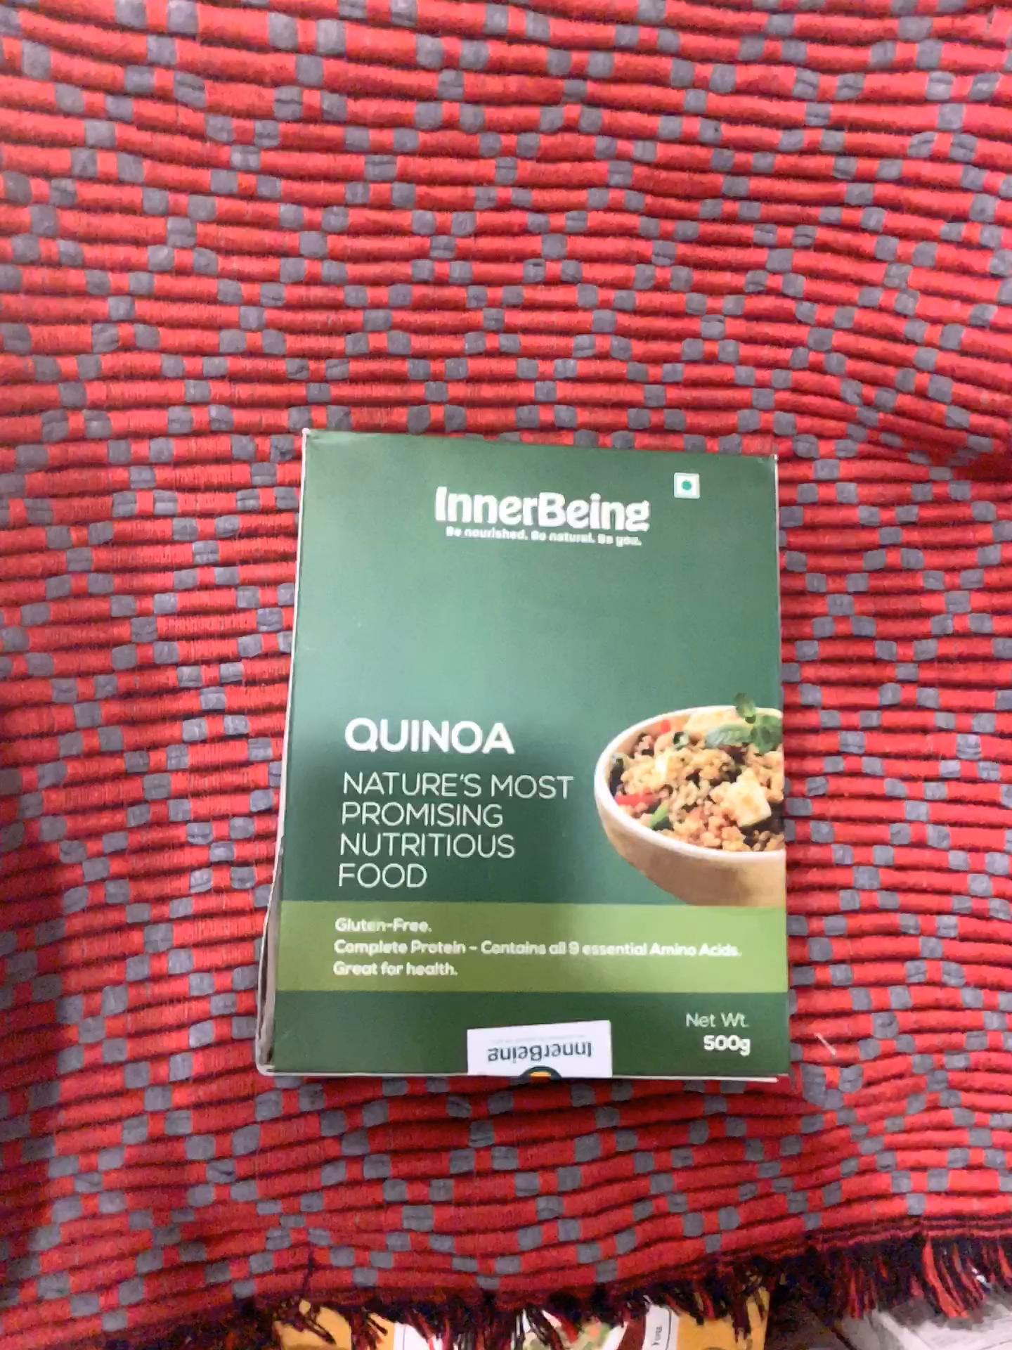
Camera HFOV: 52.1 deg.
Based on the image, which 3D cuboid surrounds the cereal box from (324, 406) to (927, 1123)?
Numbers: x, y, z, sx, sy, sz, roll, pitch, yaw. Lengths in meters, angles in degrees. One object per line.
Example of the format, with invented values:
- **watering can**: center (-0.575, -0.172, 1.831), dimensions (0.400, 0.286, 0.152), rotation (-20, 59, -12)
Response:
- **cereal box**: center (0.032, 0.023, 0.287), dimensions (0.150, 0.040, 0.180), rotation (2, 82, -4)
